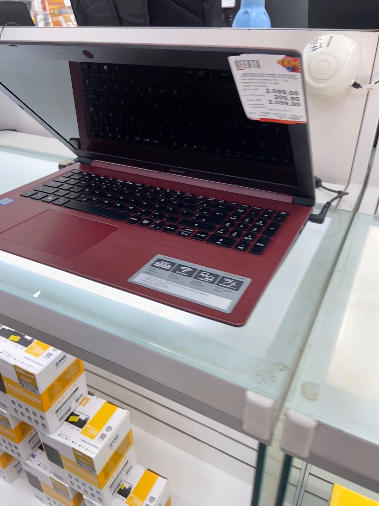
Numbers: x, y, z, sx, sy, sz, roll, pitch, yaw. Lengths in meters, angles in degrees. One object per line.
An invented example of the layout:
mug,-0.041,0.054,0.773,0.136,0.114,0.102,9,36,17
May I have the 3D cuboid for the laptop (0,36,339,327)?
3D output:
laptop,-0.069,-0.120,0.413,0.367,0.179,0.239,15,34,24
